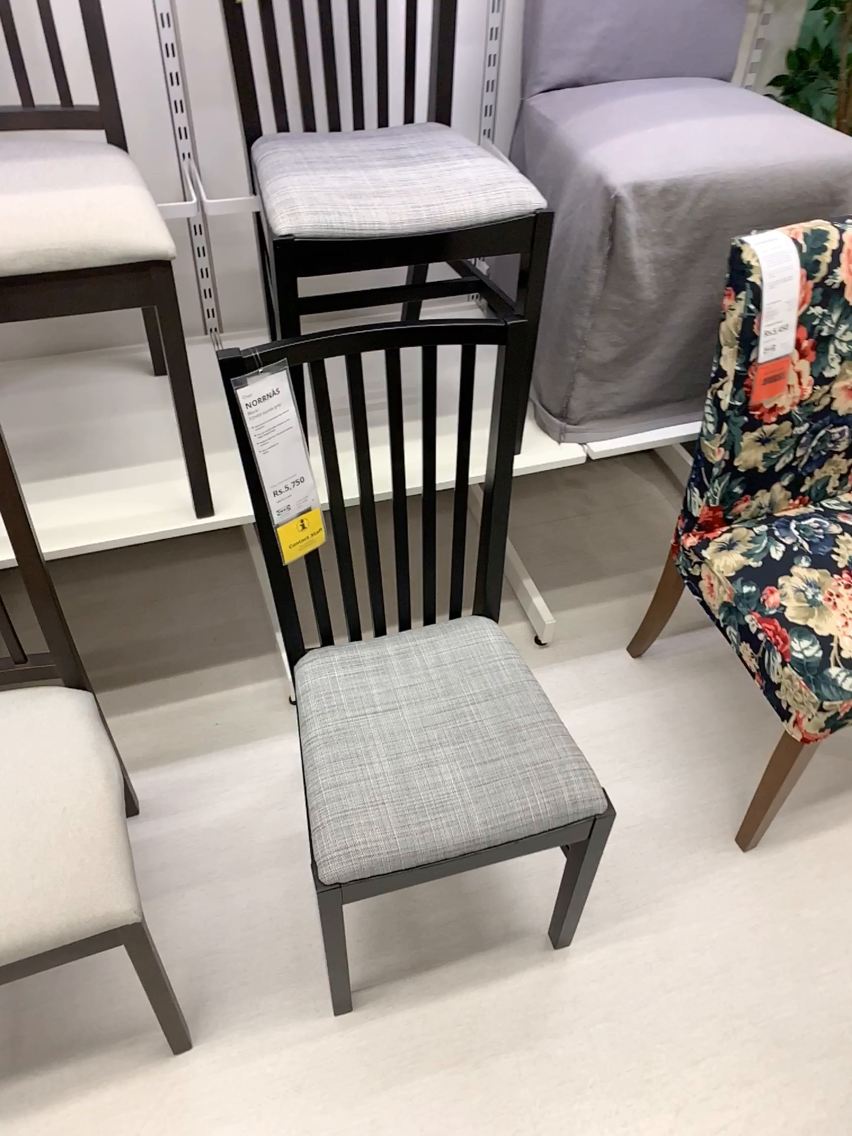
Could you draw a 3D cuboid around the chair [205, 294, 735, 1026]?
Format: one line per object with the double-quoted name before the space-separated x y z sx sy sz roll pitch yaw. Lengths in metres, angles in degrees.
"chair" -0.007 0.166 1.276 0.440 0.896 0.552 -10 45 -13
